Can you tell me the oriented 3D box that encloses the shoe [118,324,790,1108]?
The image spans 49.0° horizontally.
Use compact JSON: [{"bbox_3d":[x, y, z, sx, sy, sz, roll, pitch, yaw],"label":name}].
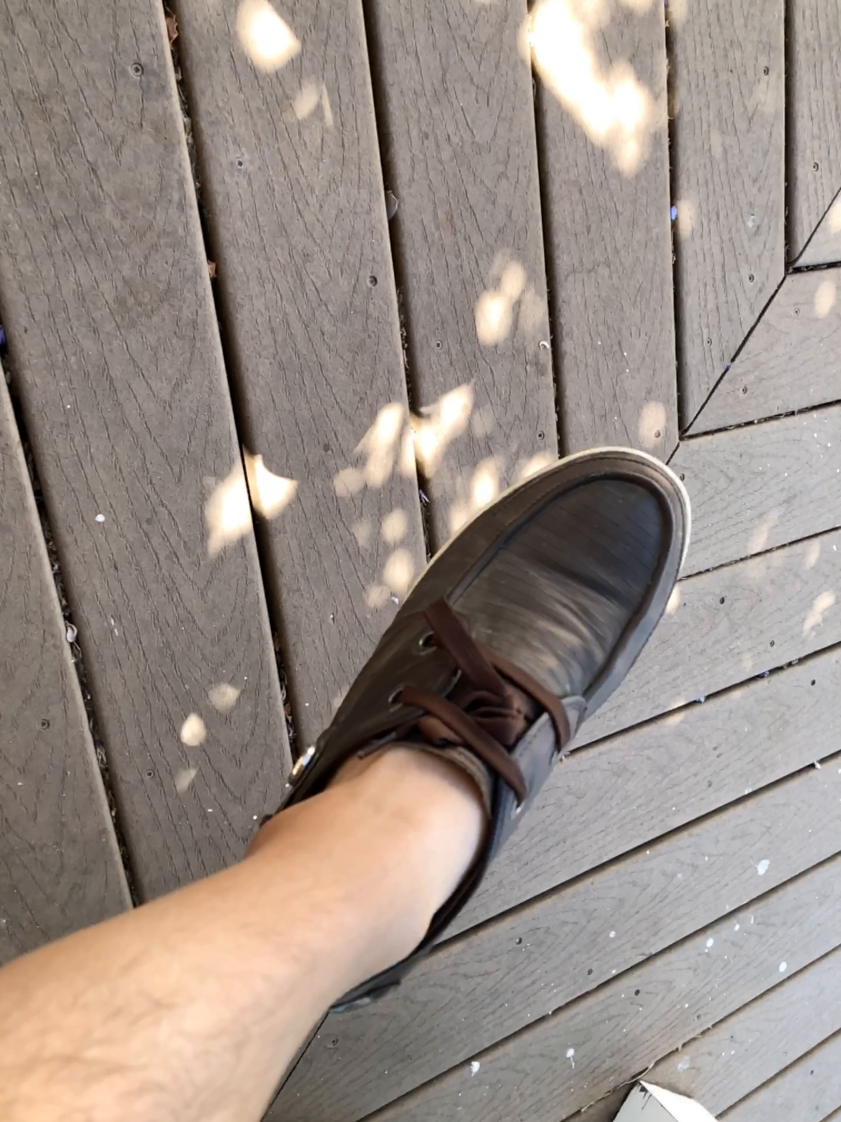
[{"bbox_3d":[0.017,0.051,0.349,0.090,0.084,0.255,36,84,12],"label":"shoe"}]
